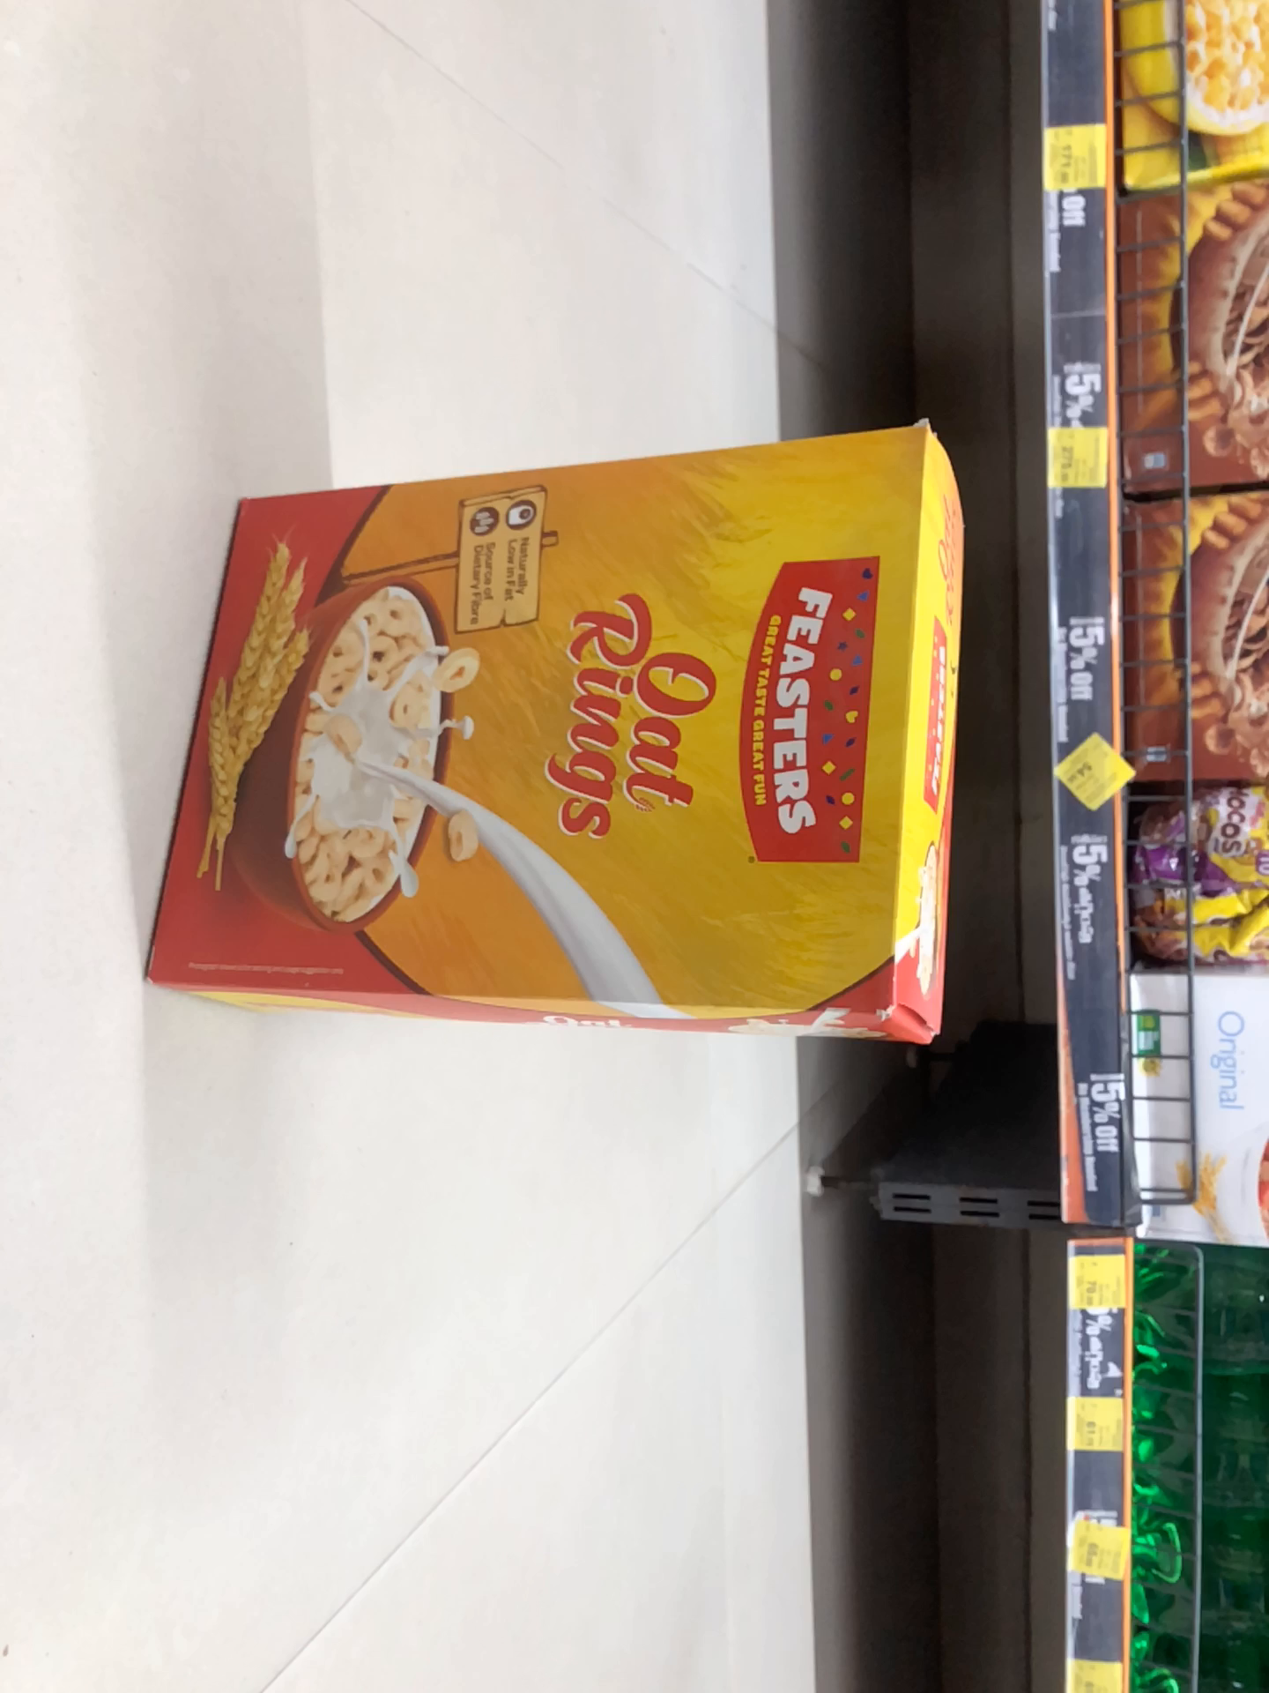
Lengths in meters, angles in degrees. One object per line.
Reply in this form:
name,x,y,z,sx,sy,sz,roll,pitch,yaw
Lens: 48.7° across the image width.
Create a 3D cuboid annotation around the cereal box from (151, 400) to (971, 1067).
cereal box,-0.017,-0.028,0.425,0.070,0.219,0.170,43,50,-63
